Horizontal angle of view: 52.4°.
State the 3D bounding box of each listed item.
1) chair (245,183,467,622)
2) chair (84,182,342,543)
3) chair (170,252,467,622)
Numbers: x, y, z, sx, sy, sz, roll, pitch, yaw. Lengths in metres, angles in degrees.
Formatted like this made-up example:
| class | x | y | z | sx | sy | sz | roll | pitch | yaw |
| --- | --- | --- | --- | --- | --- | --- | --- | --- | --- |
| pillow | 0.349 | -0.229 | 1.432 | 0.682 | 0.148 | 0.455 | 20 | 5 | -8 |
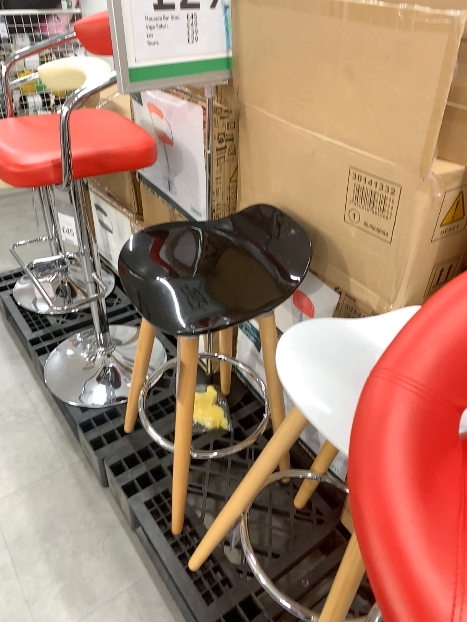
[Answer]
| class | x | y | z | sx | sy | sz | roll | pitch | yaw |
| --- | --- | --- | --- | --- | --- | --- | --- | --- | --- |
| chair | 0.372 | 0.447 | 0.548 | 0.477 | 0.978 | 0.477 | -20 | 41 | -29 |
| chair | -0.072 | 0.125 | 1.176 | 0.397 | 0.721 | 0.387 | -16 | 39 | -24 |
| chair | 0.170 | 0.342 | 0.888 | 0.417 | 0.721 | 0.387 | -20 | 41 | -29 |
